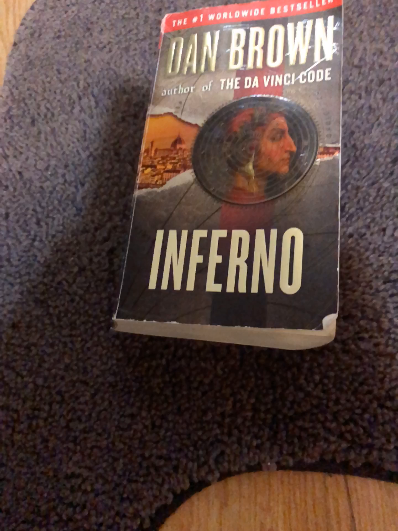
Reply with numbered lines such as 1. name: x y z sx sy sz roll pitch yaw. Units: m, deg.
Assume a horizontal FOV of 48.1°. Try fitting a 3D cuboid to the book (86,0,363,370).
1. book: 0.023 -0.053 0.243 0.120 0.050 0.200 2 73 14
